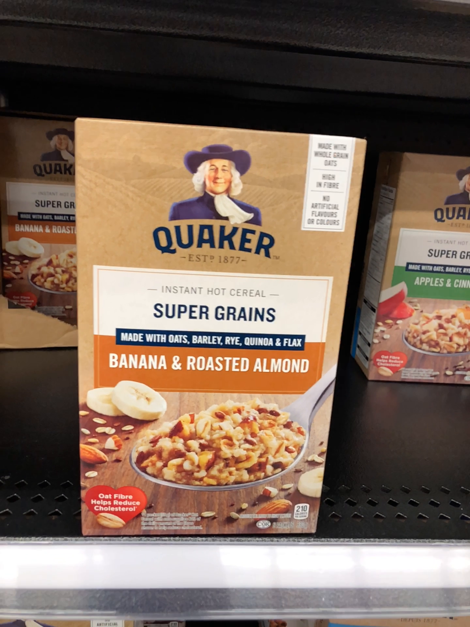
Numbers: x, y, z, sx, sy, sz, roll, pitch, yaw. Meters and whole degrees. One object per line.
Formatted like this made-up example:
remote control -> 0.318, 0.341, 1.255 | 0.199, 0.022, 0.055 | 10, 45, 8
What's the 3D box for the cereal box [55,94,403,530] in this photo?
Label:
cereal box -> -0.009, 0.002, 0.255 | 0.130, 0.189, 0.070 | 2, 18, -7
